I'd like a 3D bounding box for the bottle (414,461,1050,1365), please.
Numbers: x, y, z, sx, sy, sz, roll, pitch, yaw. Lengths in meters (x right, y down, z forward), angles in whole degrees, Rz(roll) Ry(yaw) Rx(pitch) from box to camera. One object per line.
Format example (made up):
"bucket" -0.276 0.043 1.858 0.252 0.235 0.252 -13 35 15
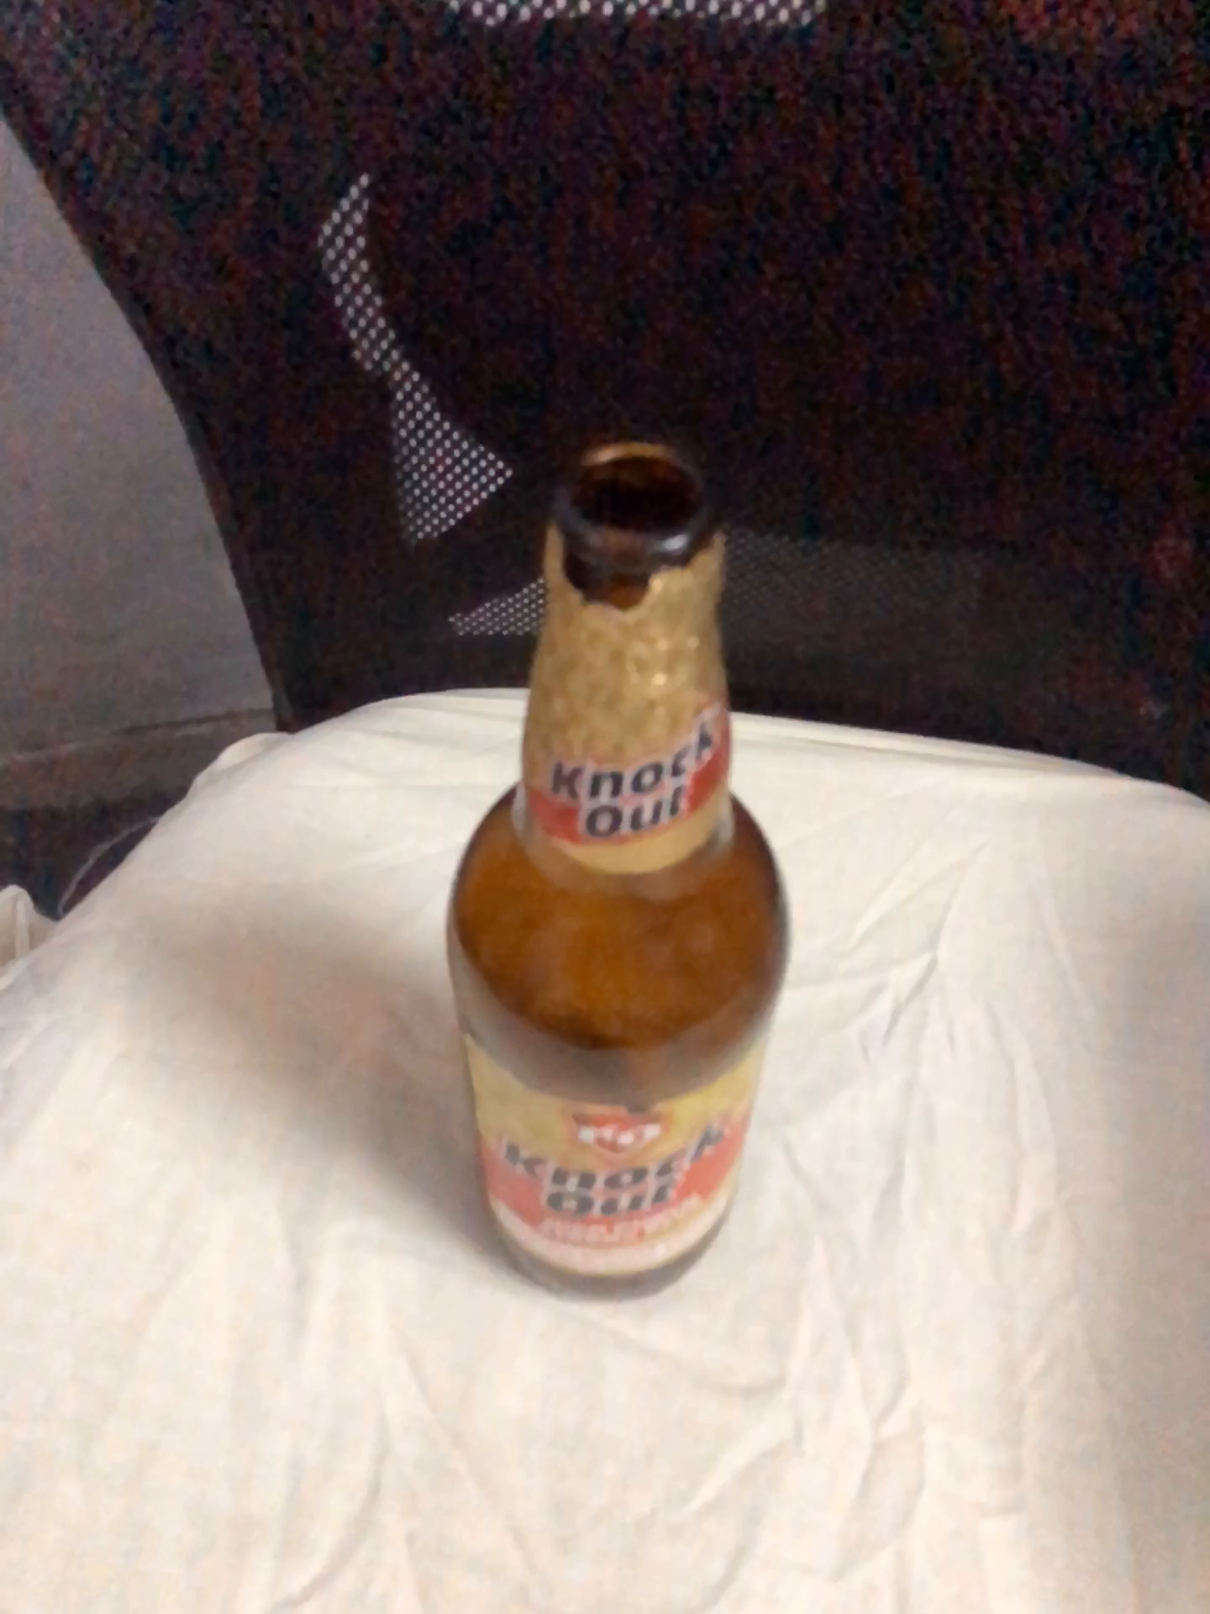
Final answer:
"bottle" 0.008 0.049 0.287 0.080 0.249 0.070 -3 54 -6
